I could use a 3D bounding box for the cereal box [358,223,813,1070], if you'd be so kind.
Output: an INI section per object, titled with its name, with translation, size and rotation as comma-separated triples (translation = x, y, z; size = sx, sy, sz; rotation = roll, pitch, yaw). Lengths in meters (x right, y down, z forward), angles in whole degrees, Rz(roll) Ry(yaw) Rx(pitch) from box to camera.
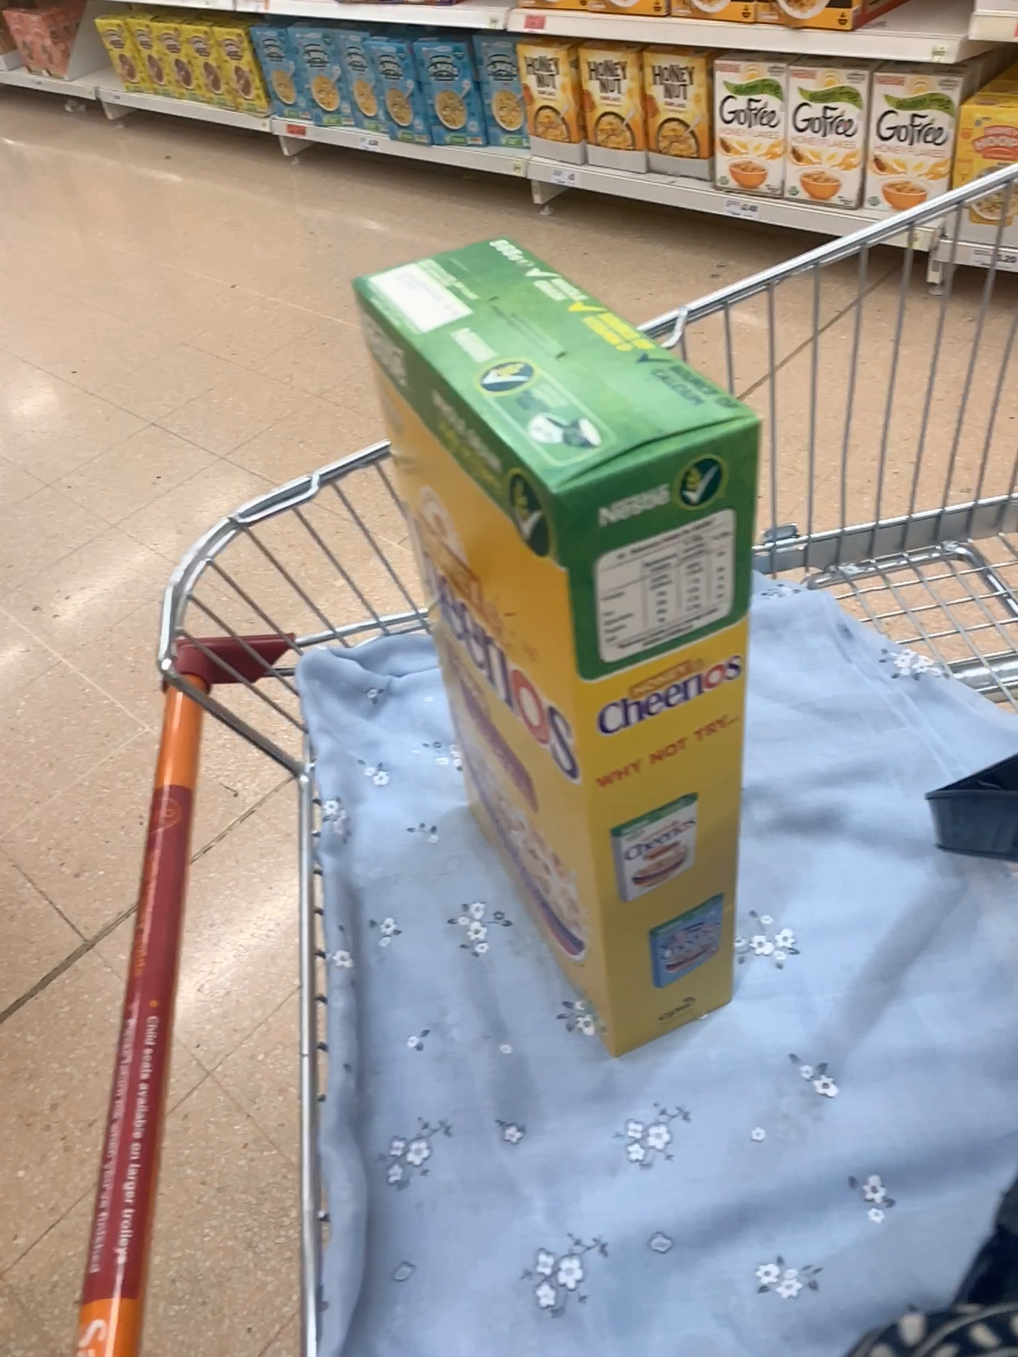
[cereal box]
translation = 0.035, -0.001, 0.497
size = 0.080, 0.347, 0.212
rotation = -22, 44, -12
